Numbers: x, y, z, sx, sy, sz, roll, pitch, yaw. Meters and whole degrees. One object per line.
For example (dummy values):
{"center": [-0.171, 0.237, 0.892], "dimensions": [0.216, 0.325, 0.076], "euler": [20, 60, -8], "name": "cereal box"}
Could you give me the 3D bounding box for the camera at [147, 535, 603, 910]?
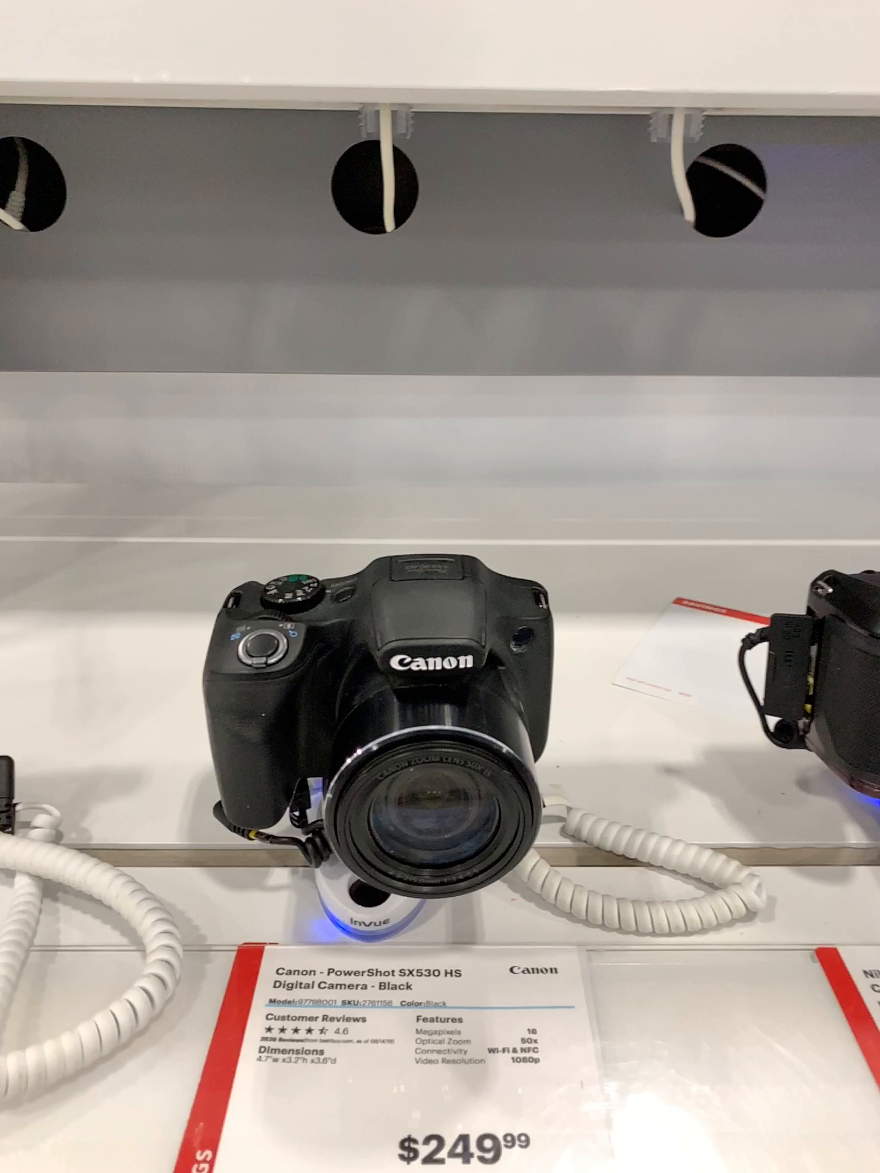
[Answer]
{"center": [-0.017, 0.039, 0.300], "dimensions": [0.120, 0.080, 0.101], "euler": [0, 25, 1], "name": "camera"}
